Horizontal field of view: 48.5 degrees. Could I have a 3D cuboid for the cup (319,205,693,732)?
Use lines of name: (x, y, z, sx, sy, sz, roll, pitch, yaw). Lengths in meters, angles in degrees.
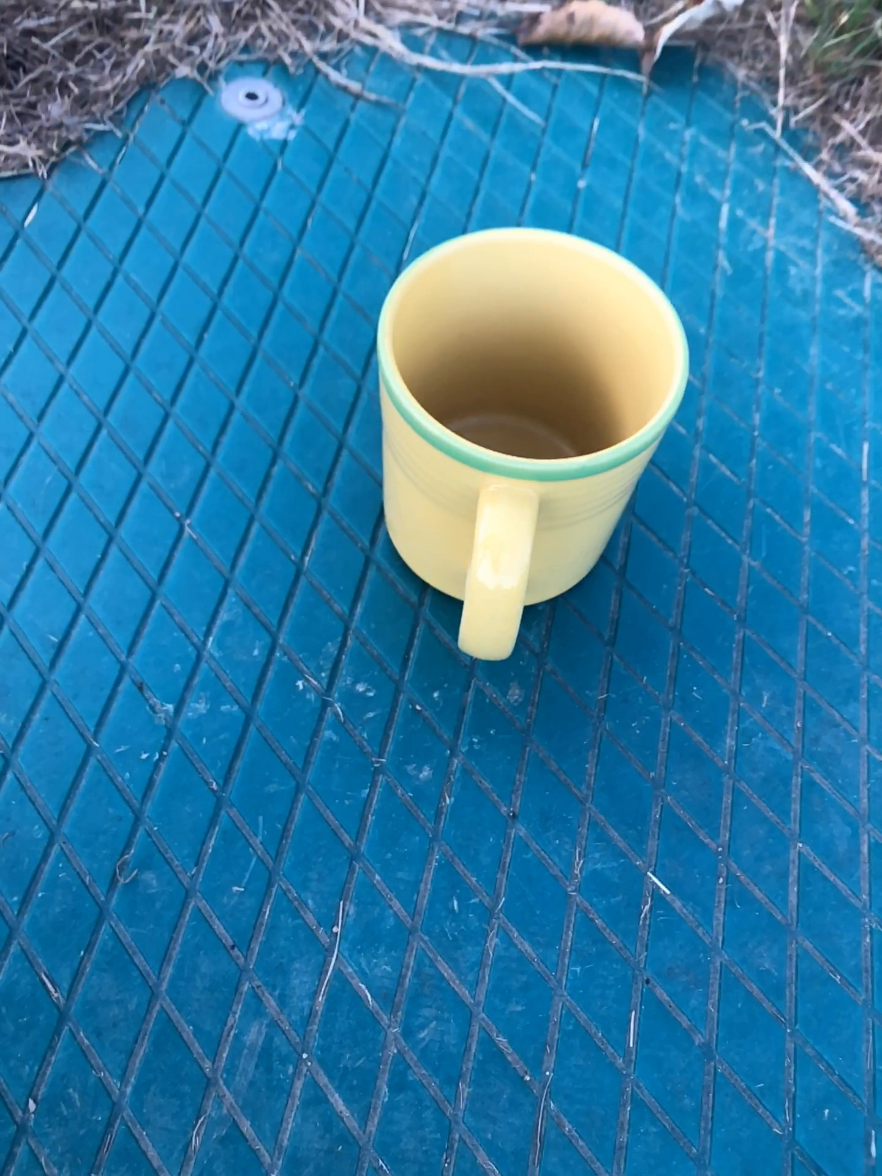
cup: (0.020, -0.034, 0.294, 0.086, 0.090, 0.115, 9, 59, 1)
